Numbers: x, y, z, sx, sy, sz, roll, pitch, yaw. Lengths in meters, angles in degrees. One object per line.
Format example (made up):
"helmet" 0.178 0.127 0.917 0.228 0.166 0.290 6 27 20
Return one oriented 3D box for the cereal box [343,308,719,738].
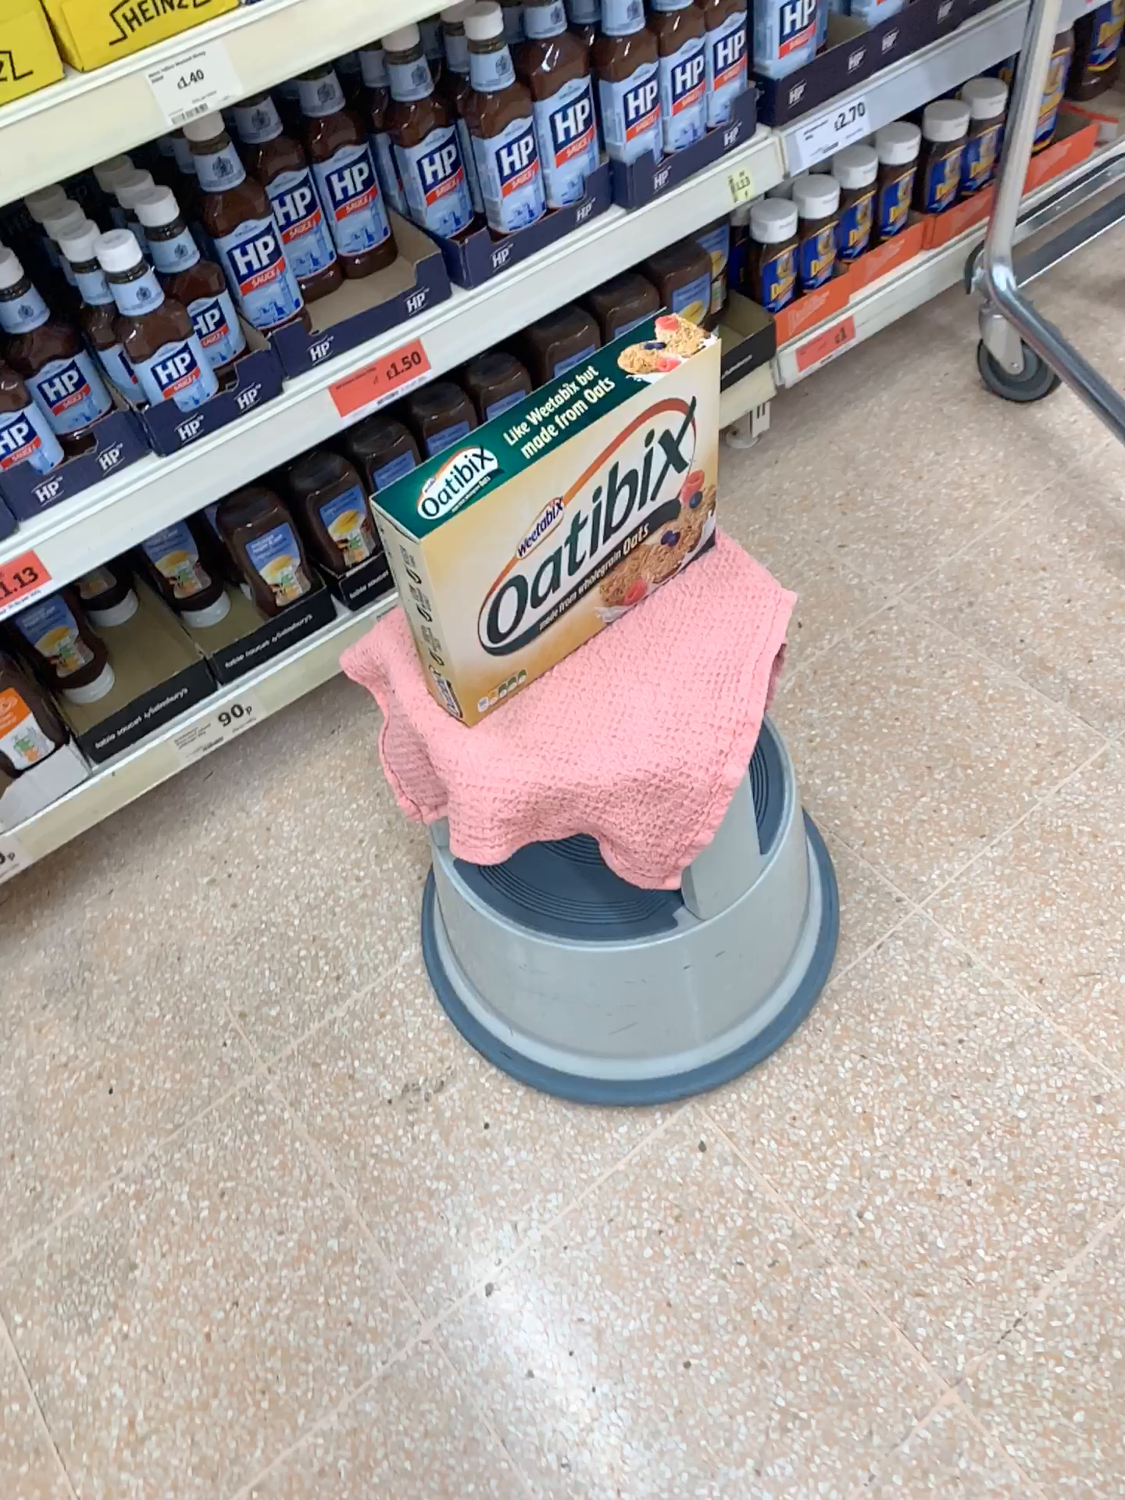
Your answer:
"cereal box" -0.007 -0.159 0.819 0.271 0.189 0.060 -38 59 -19
